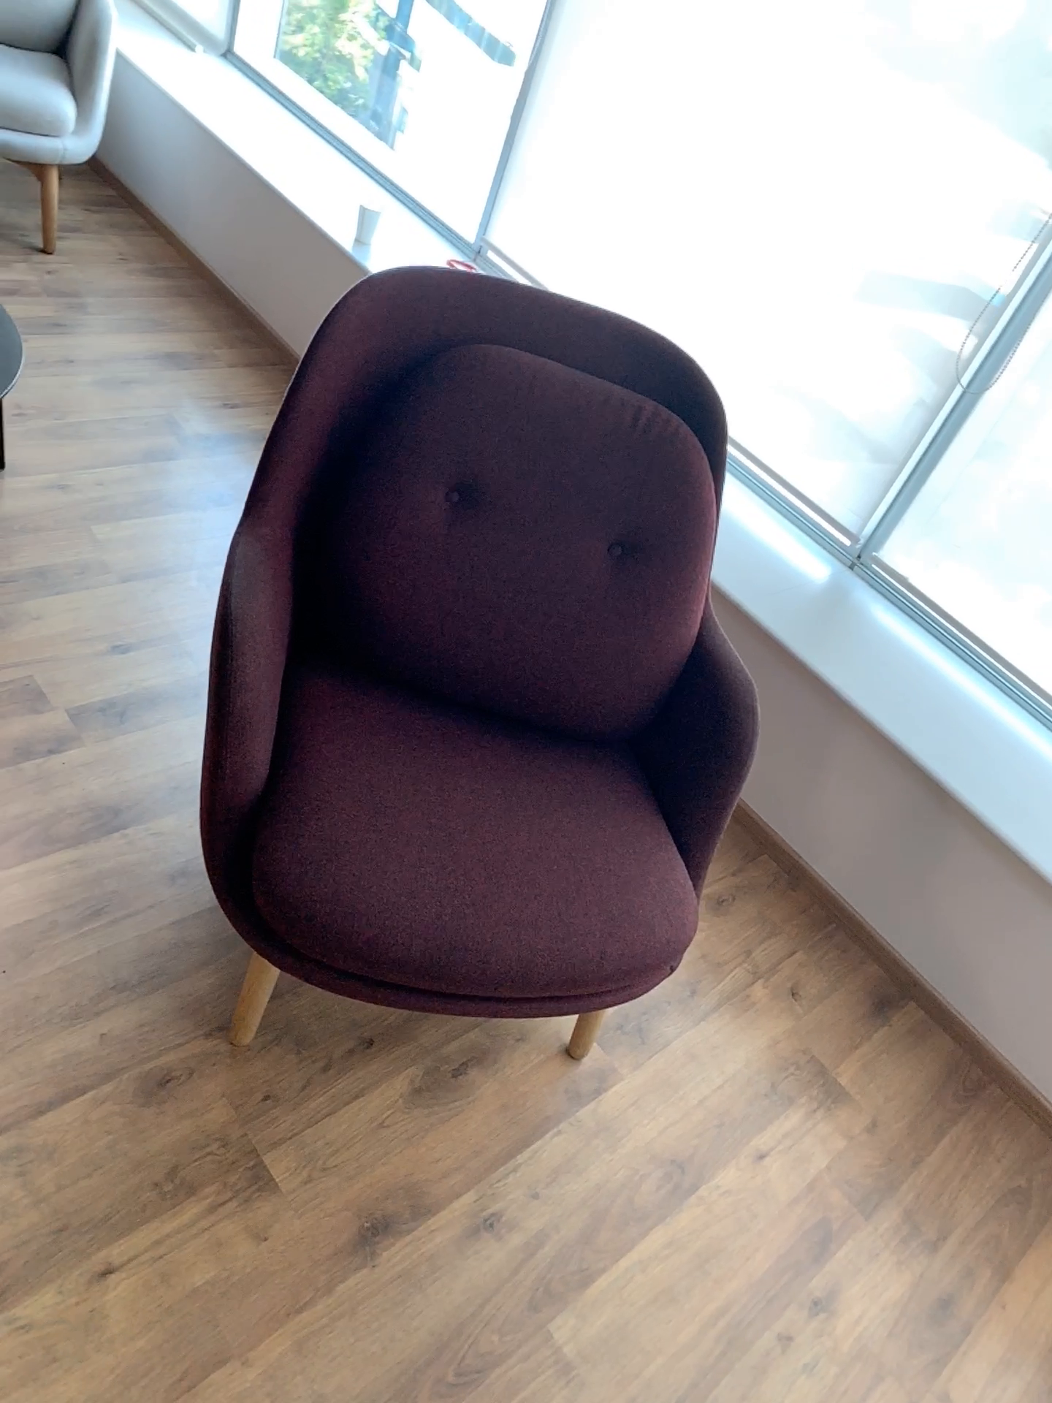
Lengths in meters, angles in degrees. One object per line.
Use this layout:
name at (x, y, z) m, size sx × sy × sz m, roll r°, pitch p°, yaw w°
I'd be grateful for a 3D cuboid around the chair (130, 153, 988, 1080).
chair at (-0.069, -0.047, 1.434) m, size 0.690 × 0.932 × 0.635 m, roll 11°, pitch 40°, yaw -17°
